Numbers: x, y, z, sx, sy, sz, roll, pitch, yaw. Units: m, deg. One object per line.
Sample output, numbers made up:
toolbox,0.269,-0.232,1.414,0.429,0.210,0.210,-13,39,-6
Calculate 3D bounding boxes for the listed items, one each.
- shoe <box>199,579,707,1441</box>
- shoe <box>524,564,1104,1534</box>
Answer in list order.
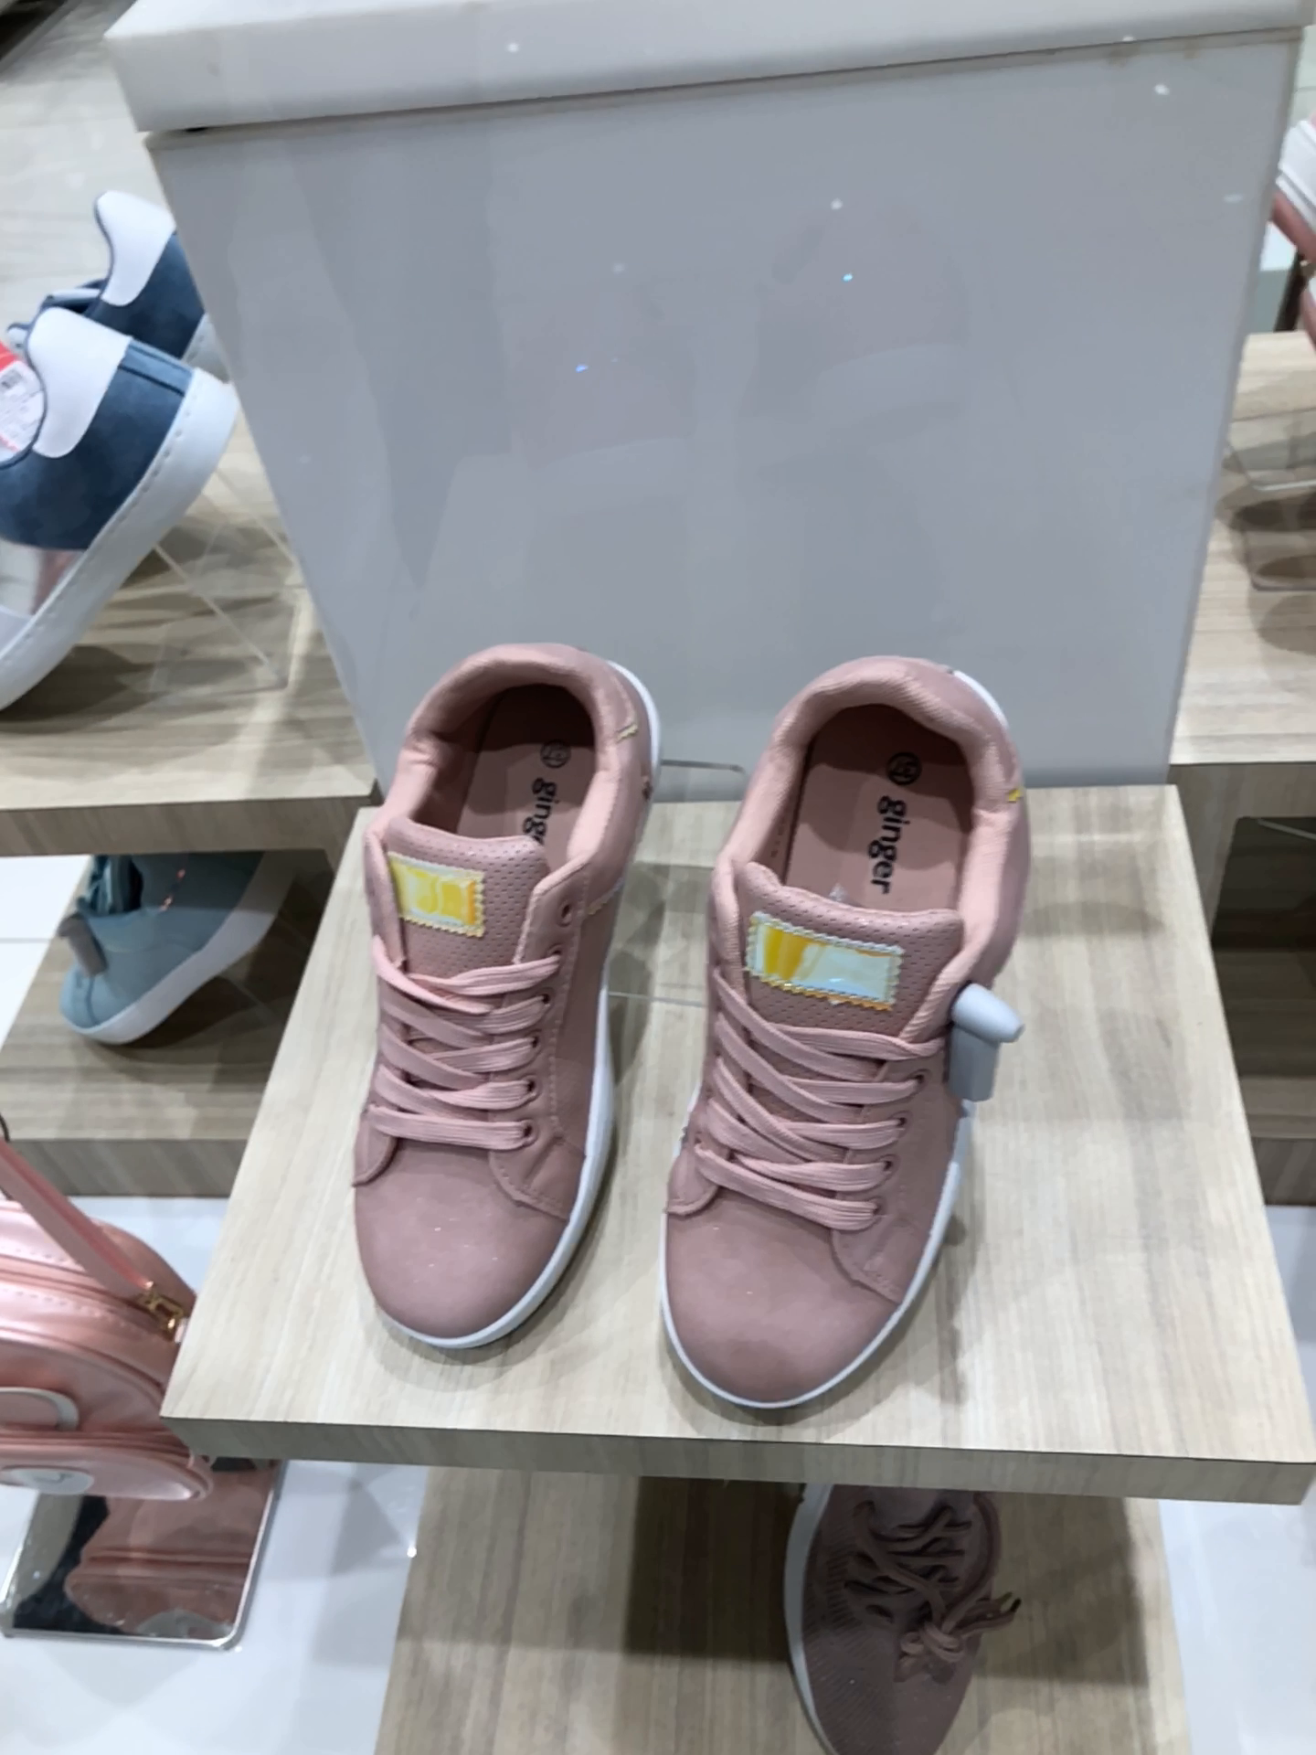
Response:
shoe,-0.064,0.038,0.496,0.103,0.094,0.252,8,88,17
shoe,0.056,0.048,0.466,0.099,0.094,0.261,16,88,20
